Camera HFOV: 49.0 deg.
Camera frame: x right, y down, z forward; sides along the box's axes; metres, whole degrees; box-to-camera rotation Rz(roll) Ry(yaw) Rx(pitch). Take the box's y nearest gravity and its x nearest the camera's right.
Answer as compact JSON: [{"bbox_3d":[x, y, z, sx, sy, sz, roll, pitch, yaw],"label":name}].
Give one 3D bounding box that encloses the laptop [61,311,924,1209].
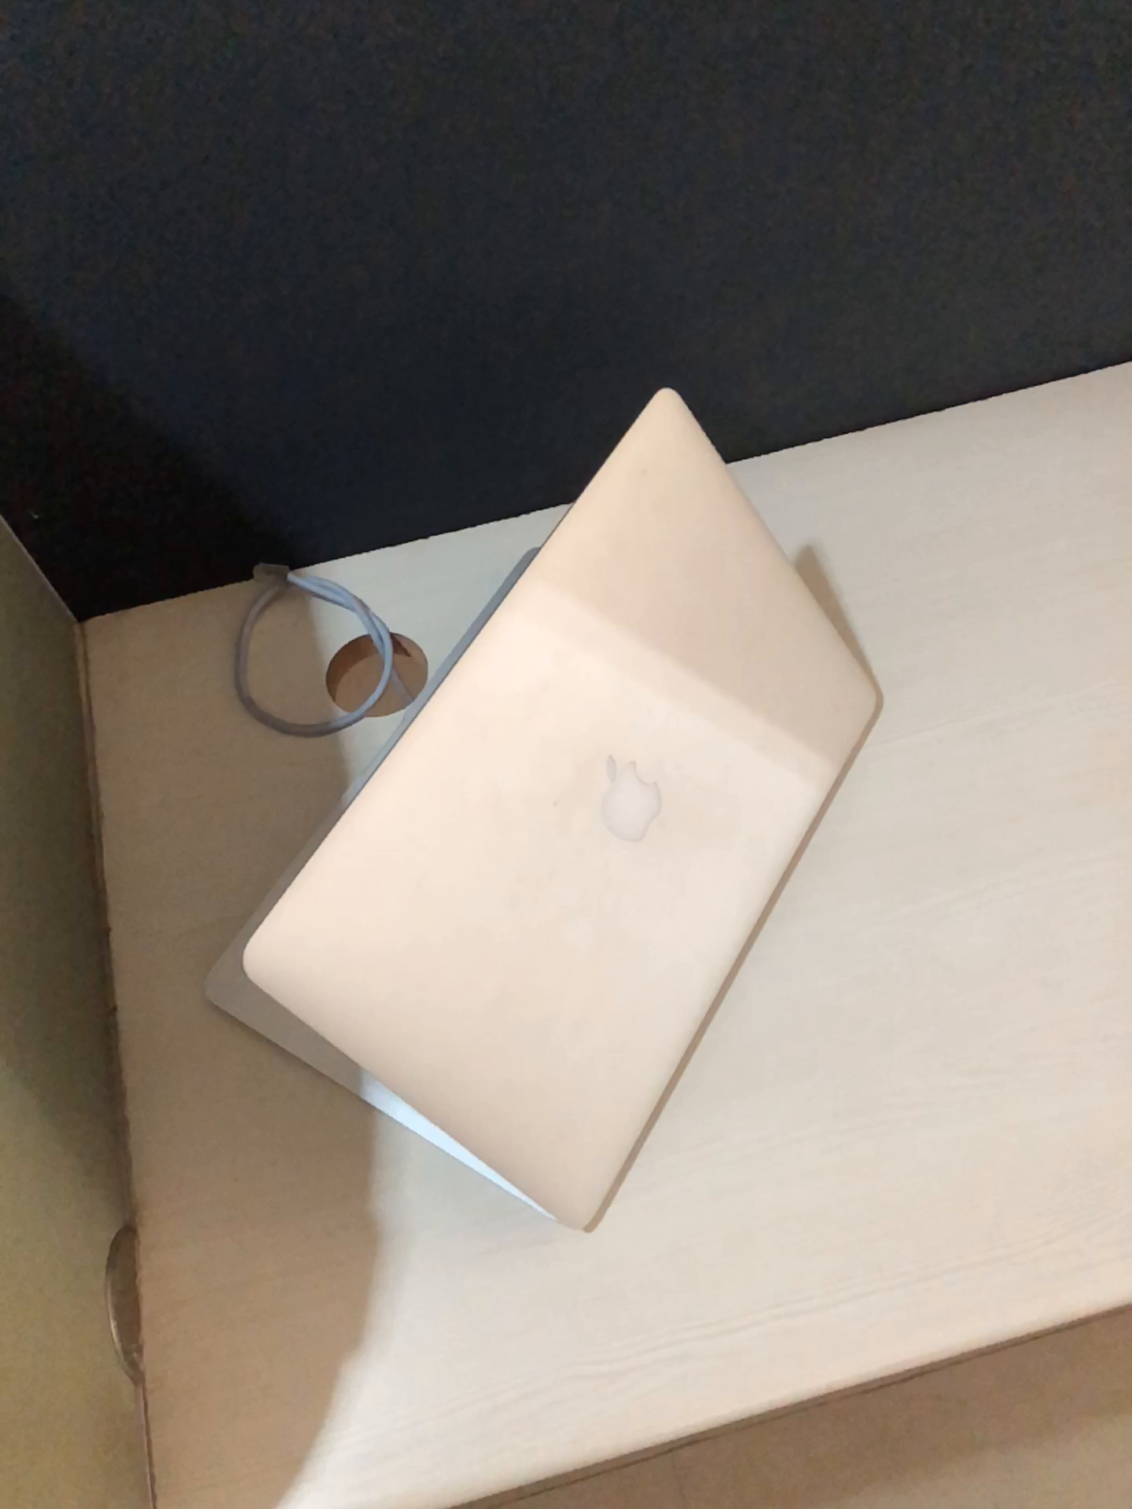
[{"bbox_3d":[-0.014,-0.003,0.633,0.235,0.198,0.344,26,66,17],"label":"laptop"}]
